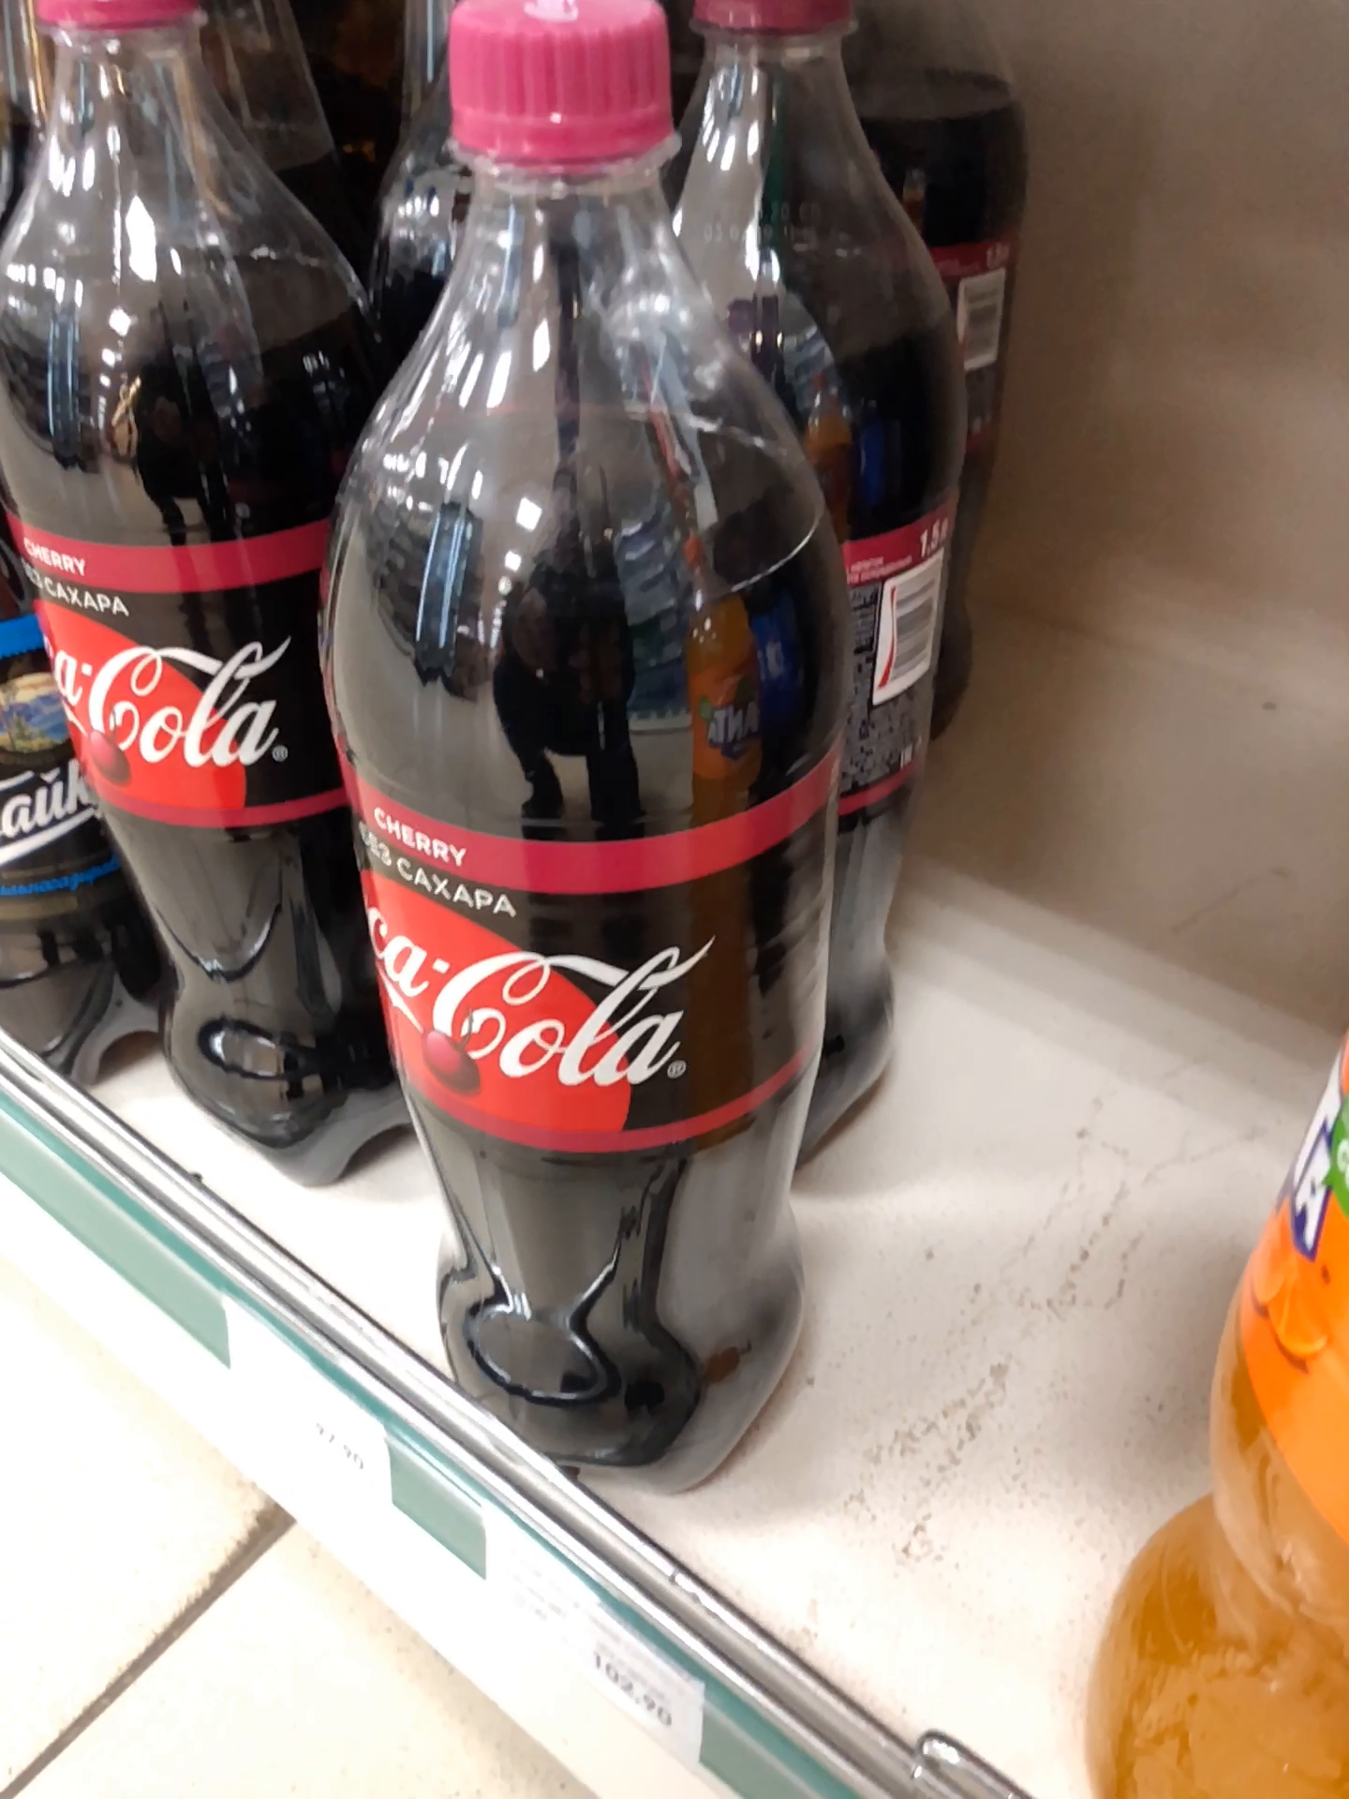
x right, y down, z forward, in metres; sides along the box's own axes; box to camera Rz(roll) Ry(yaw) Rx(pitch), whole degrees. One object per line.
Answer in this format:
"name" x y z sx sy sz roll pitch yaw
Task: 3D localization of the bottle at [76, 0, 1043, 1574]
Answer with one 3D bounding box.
"bottle" -0.013 -0.002 0.290 0.092 0.295 0.088 0 40 0
